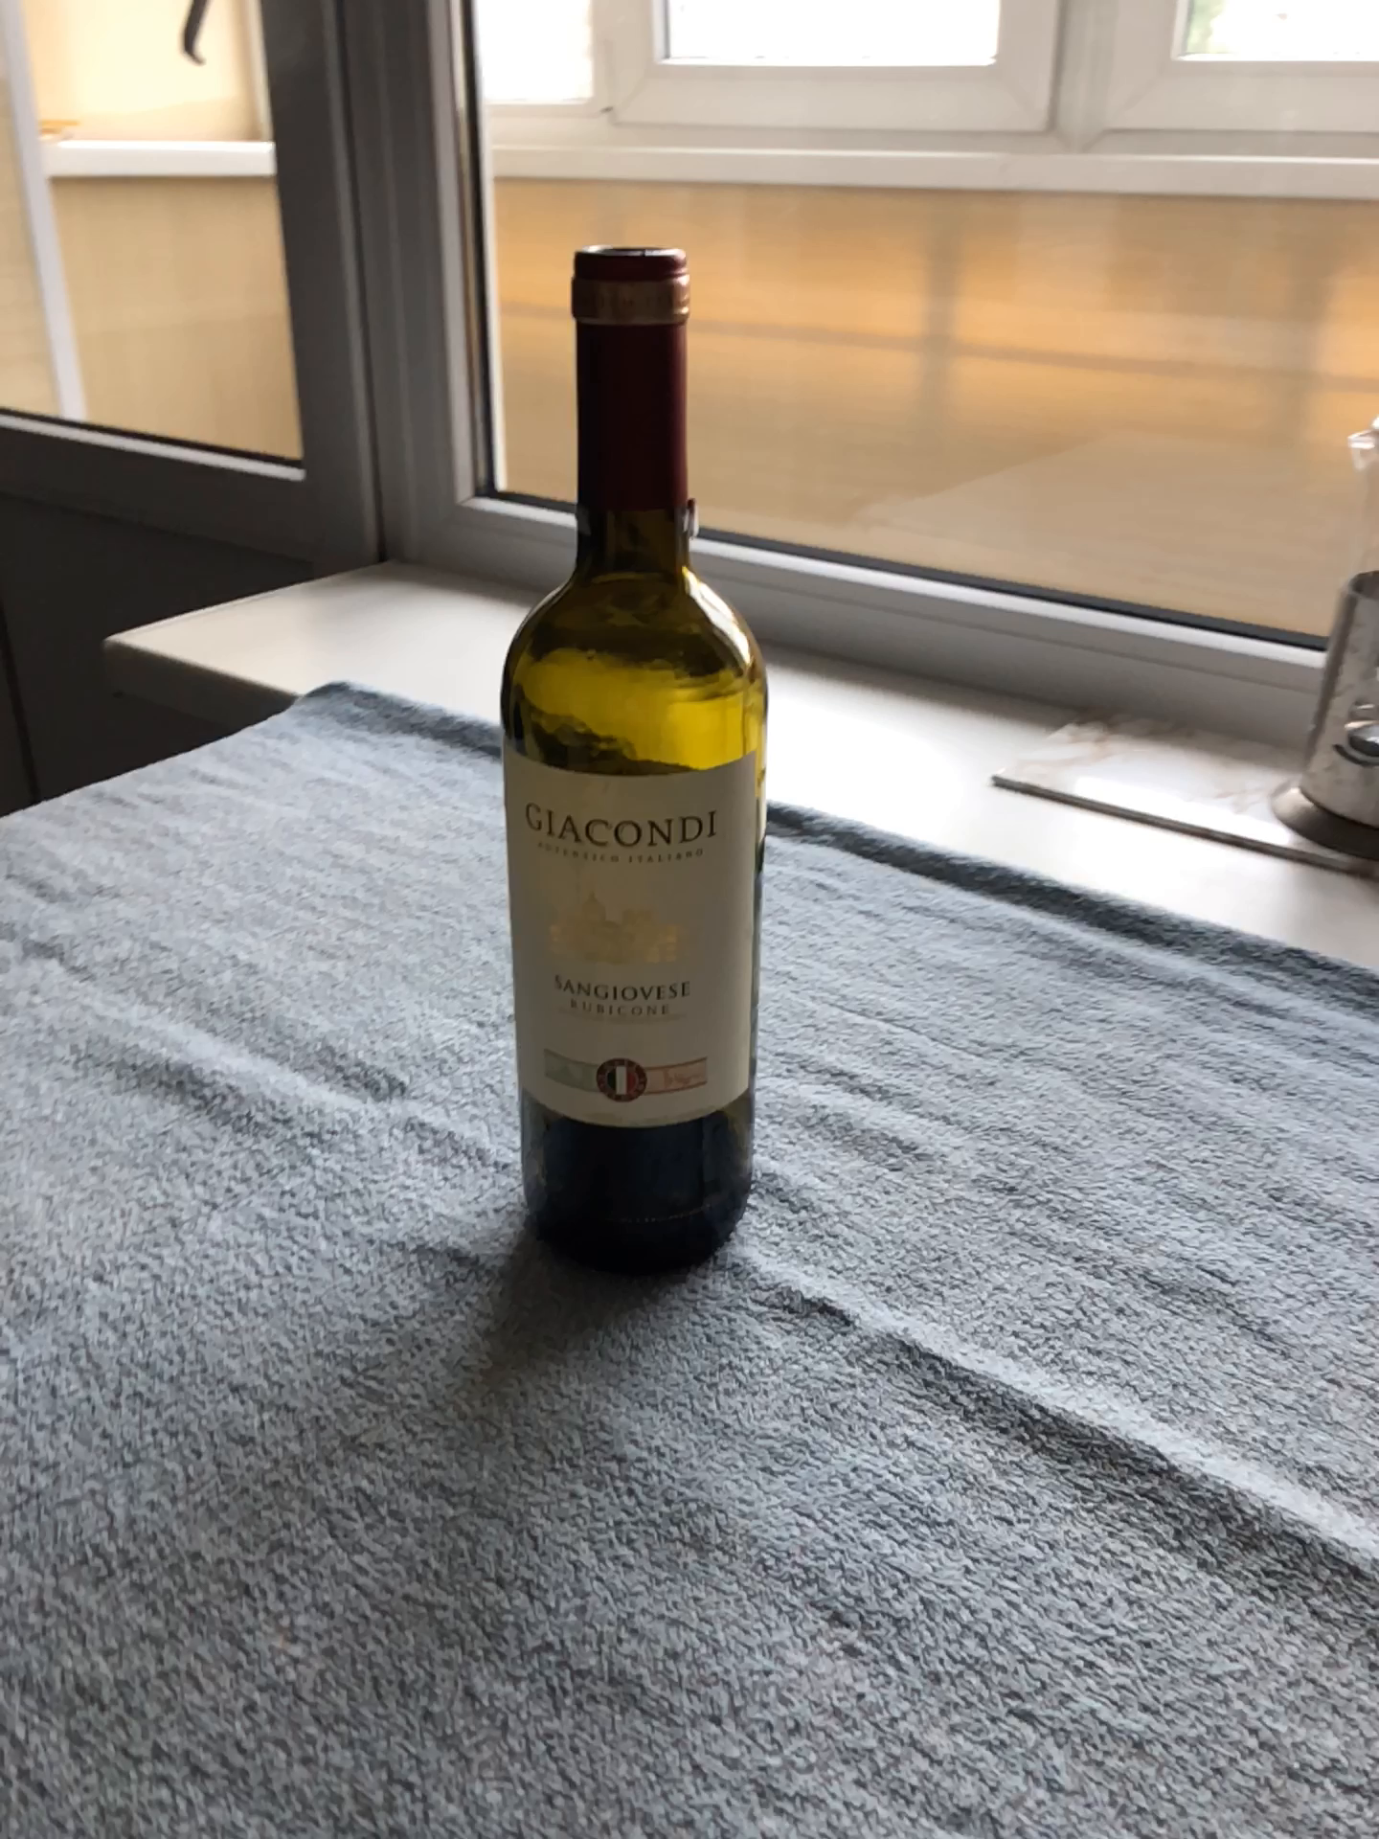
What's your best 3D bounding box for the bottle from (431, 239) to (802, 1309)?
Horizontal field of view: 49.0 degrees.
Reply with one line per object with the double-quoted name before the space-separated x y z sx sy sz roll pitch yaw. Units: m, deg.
"bottle" -0.016 -0.033 0.444 0.080 0.299 0.081 0 26 0
